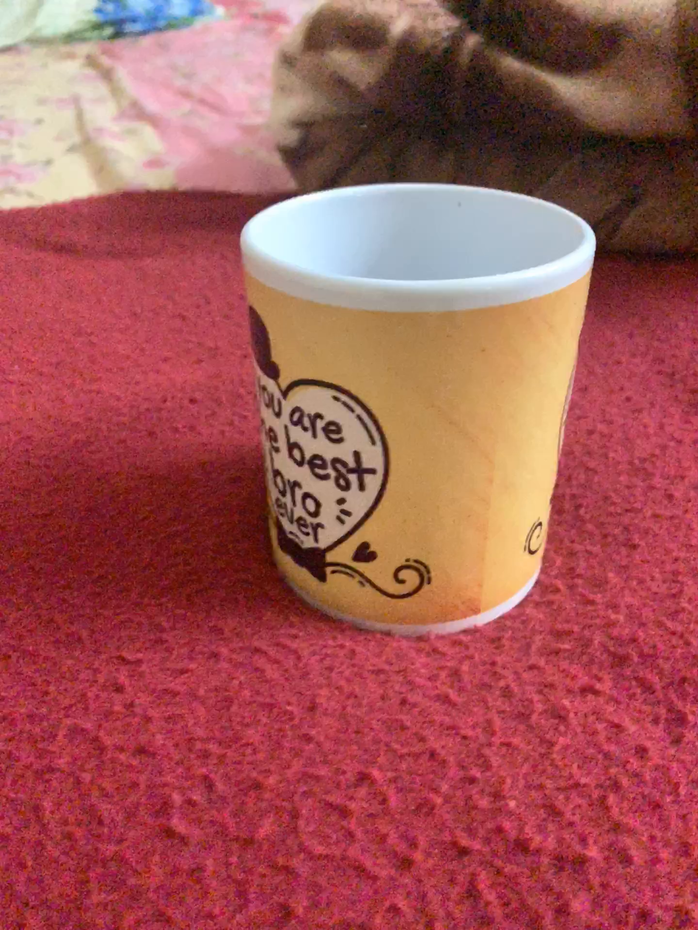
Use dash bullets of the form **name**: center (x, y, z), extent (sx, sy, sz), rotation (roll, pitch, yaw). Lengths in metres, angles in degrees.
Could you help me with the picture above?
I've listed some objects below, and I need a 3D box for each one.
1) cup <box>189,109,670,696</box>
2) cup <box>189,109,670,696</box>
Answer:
- **cup**: center (0.010, -0.025, 0.204), extent (0.080, 0.109, 0.111), rotation (-12, 36, -9)
- **cup**: center (0.010, -0.025, 0.204), extent (0.080, 0.109, 0.111), rotation (-12, 36, -9)
